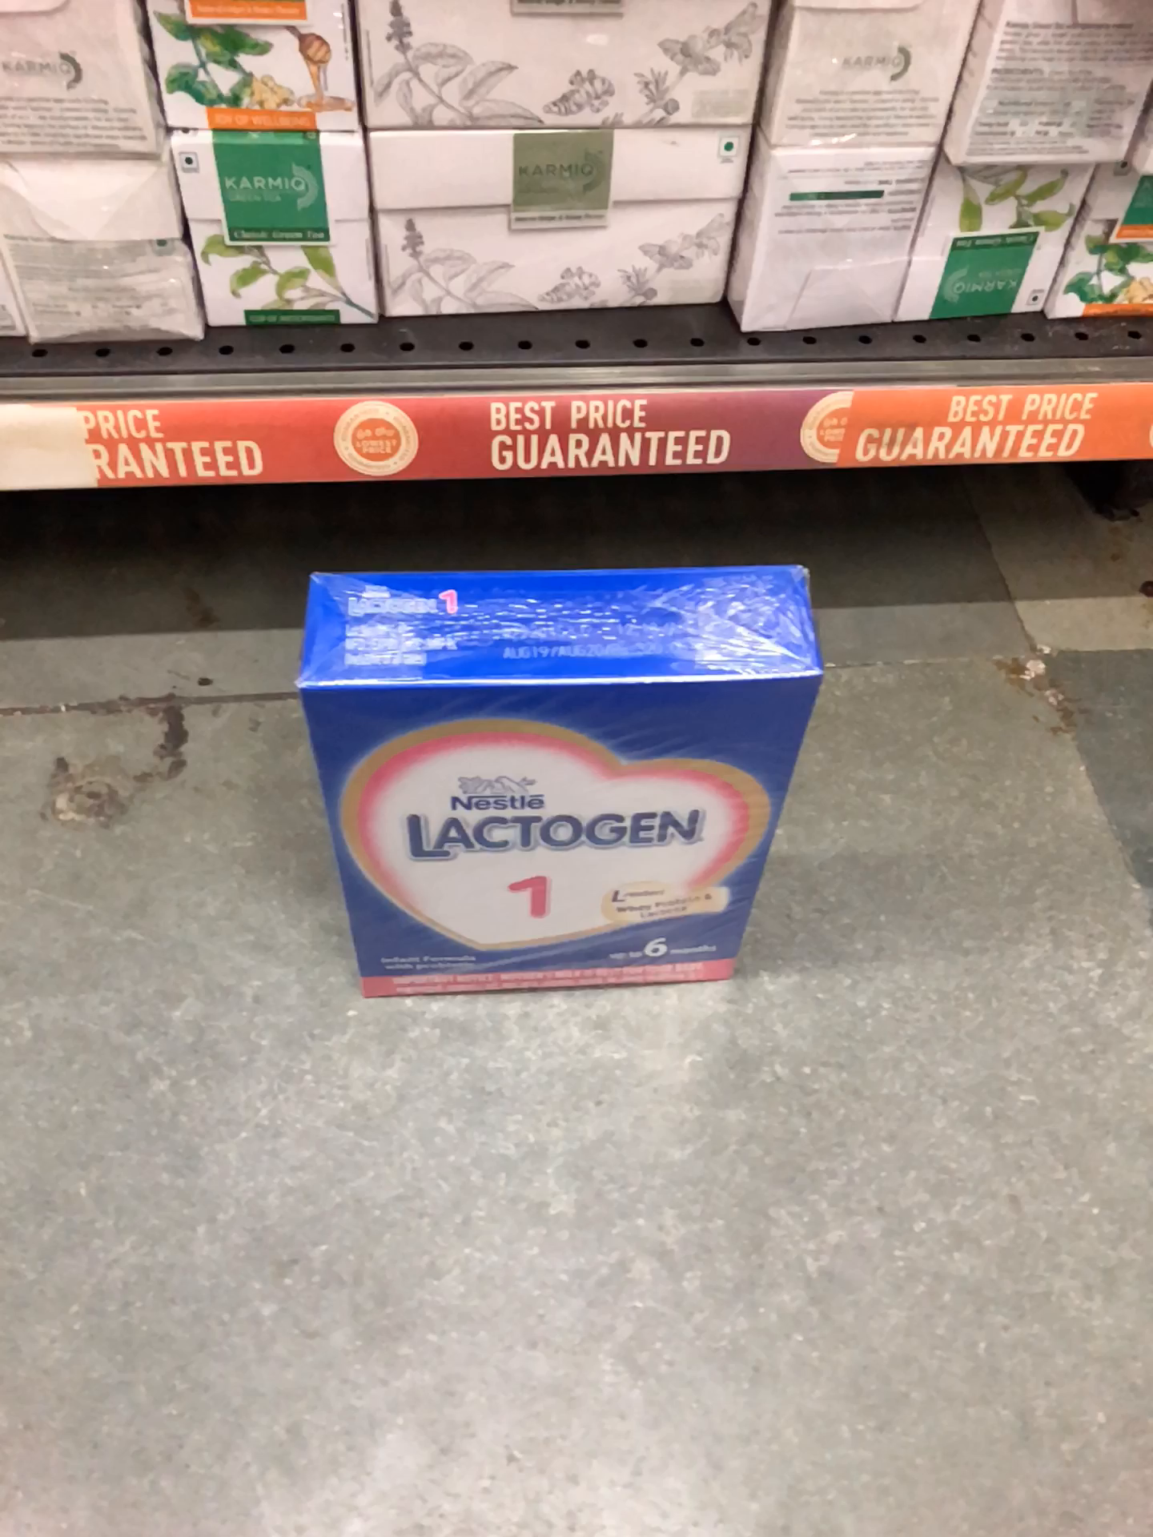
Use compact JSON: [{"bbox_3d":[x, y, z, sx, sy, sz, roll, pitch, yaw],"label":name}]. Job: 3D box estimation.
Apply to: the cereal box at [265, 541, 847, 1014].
[{"bbox_3d":[-0.010,0.014,0.442,0.160,0.199,0.050,-2,53,-5],"label":"cereal box"}]
